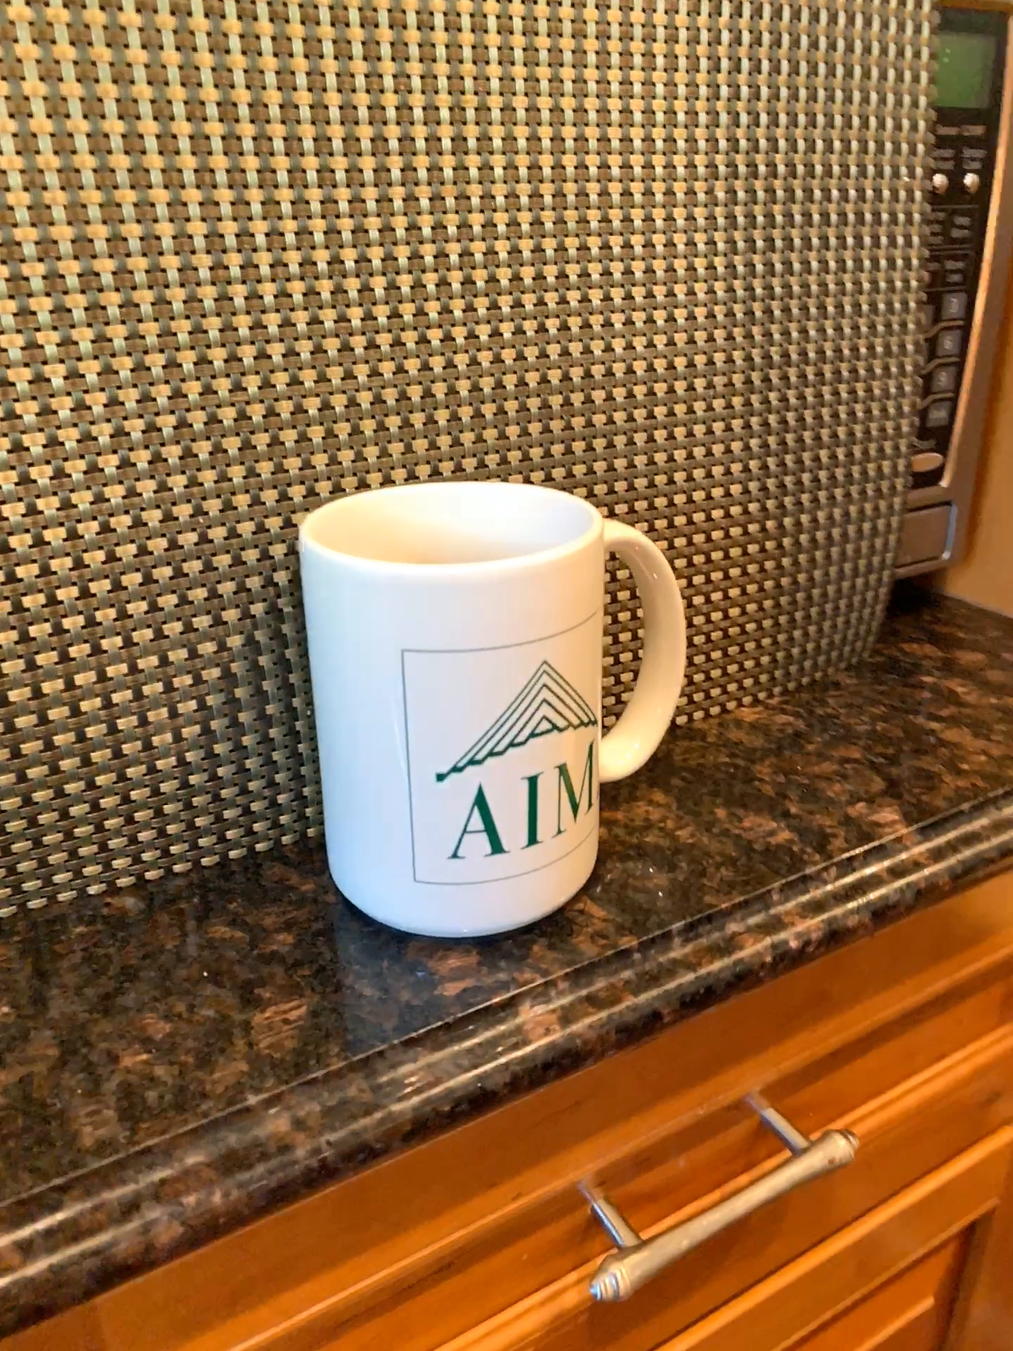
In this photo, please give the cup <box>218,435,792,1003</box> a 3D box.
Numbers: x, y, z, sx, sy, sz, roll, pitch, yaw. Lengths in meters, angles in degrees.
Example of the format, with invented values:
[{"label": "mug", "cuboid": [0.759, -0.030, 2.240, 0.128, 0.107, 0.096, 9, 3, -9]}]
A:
[{"label": "cup", "cuboid": [0.002, 0.000, 0.308, 0.130, 0.109, 0.090, -19, 30, -35]}]
